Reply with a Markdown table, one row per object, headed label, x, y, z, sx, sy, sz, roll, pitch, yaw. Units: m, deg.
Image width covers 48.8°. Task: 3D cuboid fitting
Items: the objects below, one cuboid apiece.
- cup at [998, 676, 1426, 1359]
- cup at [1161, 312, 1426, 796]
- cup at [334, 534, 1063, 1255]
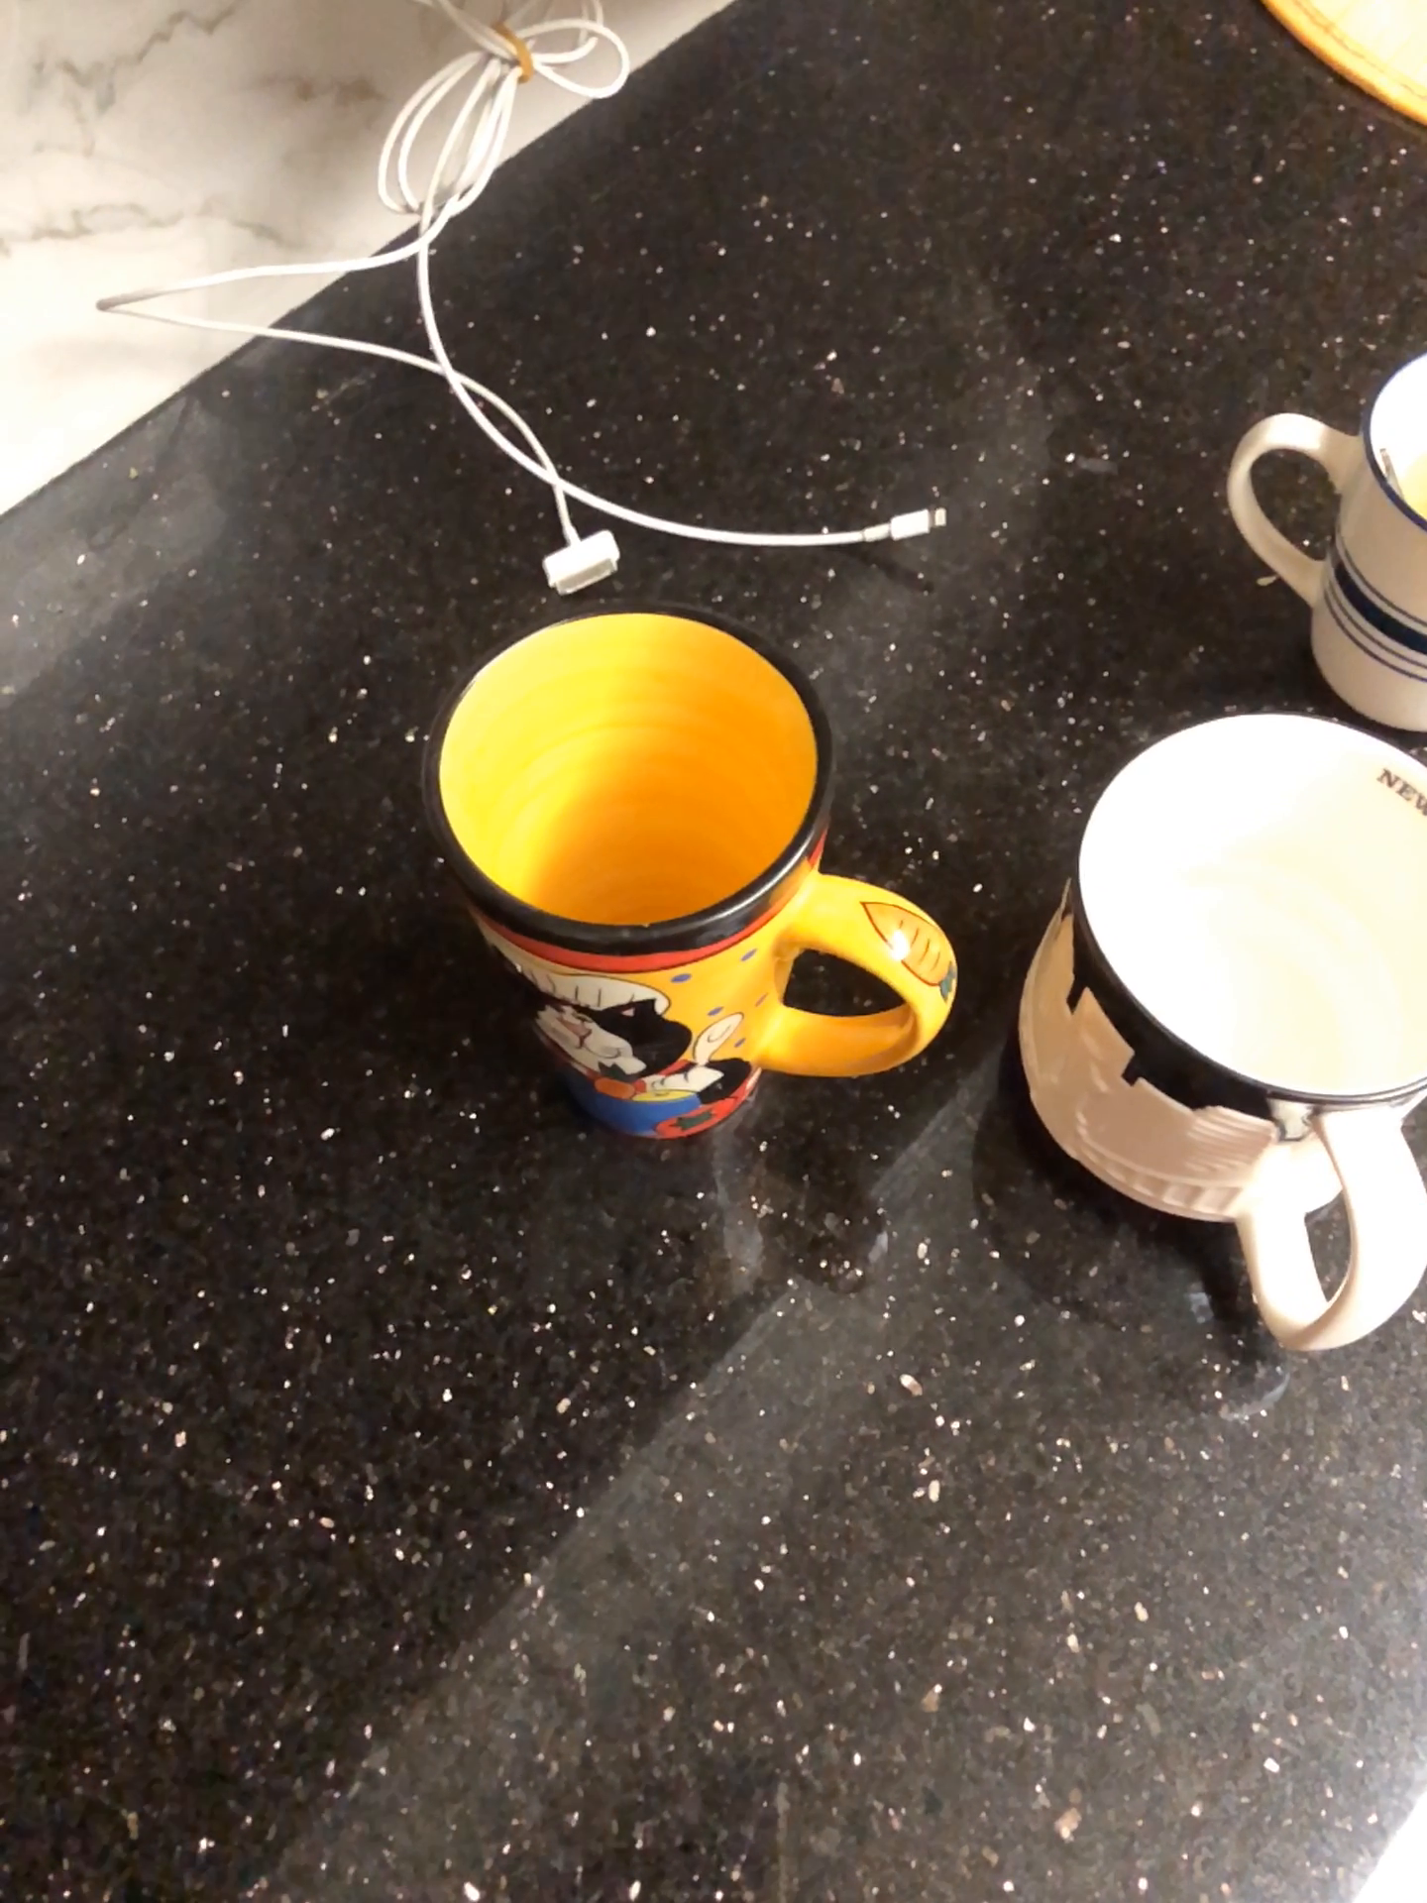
| label | x | y | z | sx | sy | sz | roll | pitch | yaw |
| --- | --- | --- | --- | --- | --- | --- | --- | --- | --- |
| cup | 0.144 | 0.019 | 0.403 | 0.110 | 0.100 | 0.140 | -3 | 62 | 0 |
| cup | 0.219 | -0.121 | 0.480 | 0.140 | 0.080 | 0.100 | 9 | 62 | 6 |
| cup | 0.000 | -0.009 | 0.390 | 0.130 | 0.130 | 0.090 | 19 | 64 | 11 |
